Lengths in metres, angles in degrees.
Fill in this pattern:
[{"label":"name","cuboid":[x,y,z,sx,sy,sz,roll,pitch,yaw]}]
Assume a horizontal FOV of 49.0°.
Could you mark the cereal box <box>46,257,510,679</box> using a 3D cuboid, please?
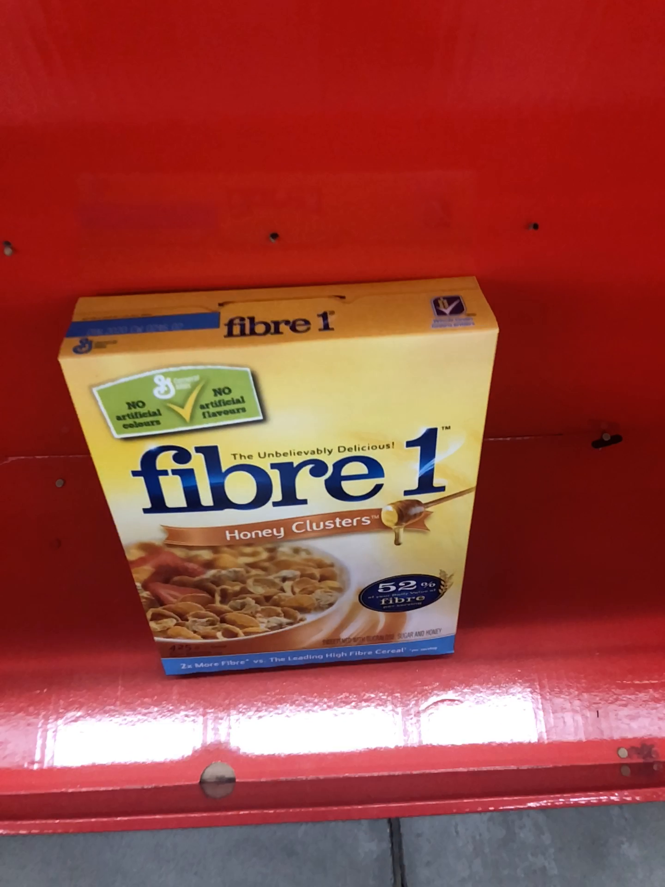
[{"label":"cereal box","cuboid":[-0.021,0.033,0.440,0.210,0.269,0.060,-4,40,-1]}]
